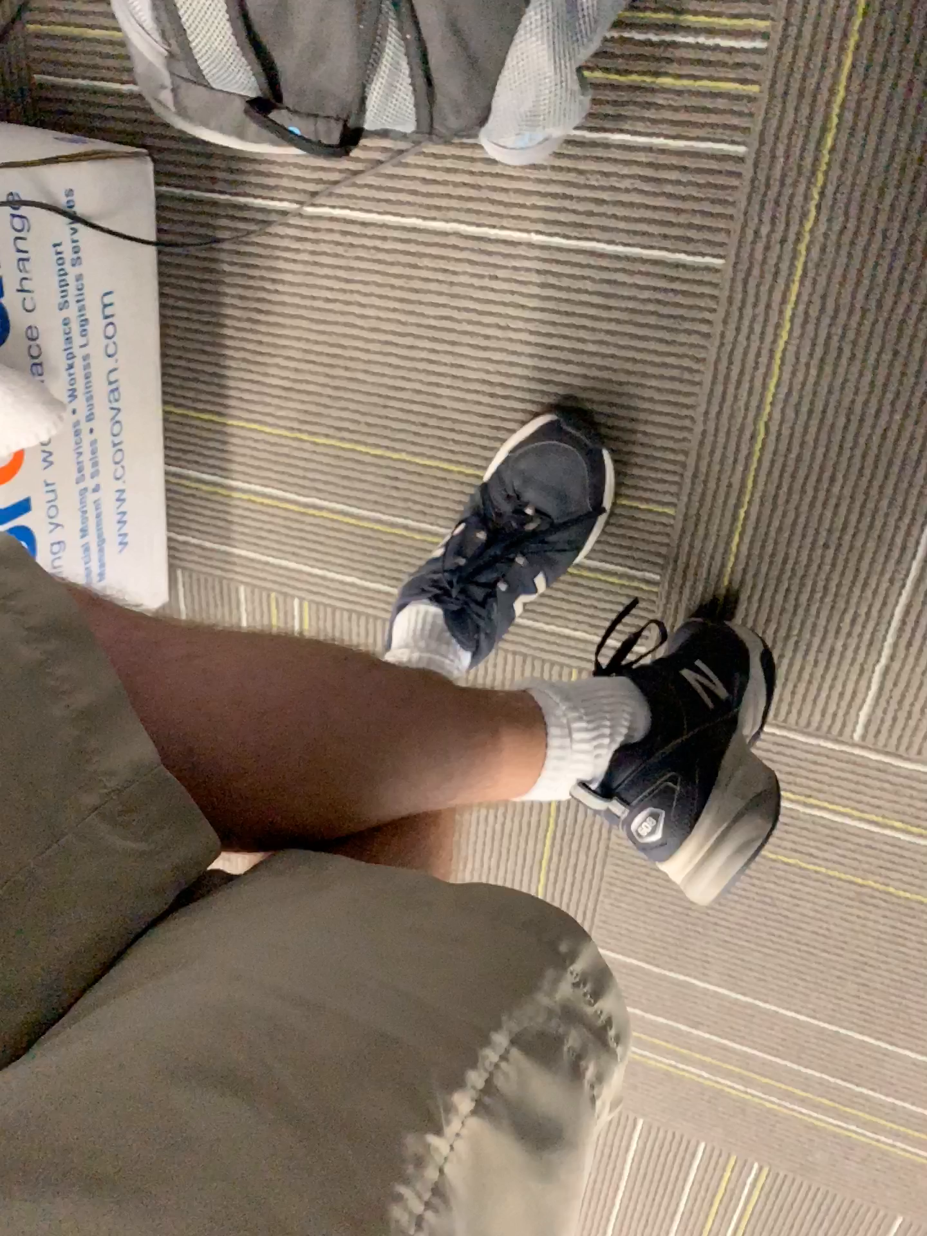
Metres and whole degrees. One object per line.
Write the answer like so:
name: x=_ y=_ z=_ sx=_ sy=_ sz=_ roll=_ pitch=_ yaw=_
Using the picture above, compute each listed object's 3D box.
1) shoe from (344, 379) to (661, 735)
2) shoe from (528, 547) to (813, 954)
shoe: x=0.025 y=-0.043 z=0.831 sx=0.120 sy=0.077 sz=0.299 roll=38 pitch=125 yaw=1
shoe: x=0.173 y=0.085 z=0.740 sx=0.129 sy=0.291 sz=0.123 roll=32 pitch=125 yaw=2
